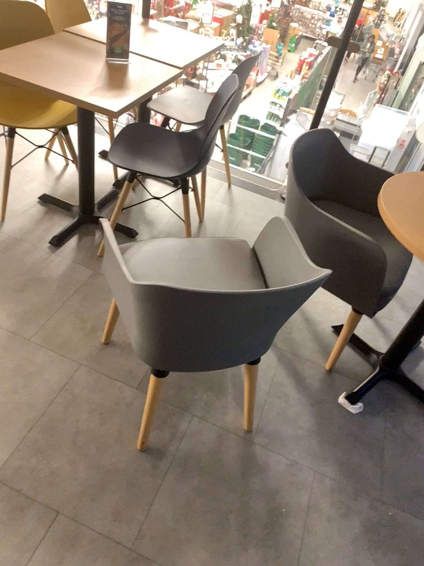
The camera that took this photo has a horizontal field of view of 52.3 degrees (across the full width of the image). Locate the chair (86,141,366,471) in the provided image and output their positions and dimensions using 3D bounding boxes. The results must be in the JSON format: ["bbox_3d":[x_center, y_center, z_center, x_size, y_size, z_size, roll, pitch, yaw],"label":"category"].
[{"bbox_3d":[-0.067,0.065,1.308,0.544,0.734,0.585,-5,45,-20],"label":"chair"}]

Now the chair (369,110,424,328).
[{"bbox_3d":[1.193,-0.314,2.072,0.484,0.724,0.584,26,42,13],"label":"chair"}]

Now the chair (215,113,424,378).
[{"bbox_3d":[0.437,-0.154,1.698,0.541,0.724,0.517,29,43,17],"label":"chair"}]

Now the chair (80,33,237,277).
[{"bbox_3d":[-0.238,-0.517,1.847,0.509,0.784,0.478,11,42,-5],"label":"chair"}]
